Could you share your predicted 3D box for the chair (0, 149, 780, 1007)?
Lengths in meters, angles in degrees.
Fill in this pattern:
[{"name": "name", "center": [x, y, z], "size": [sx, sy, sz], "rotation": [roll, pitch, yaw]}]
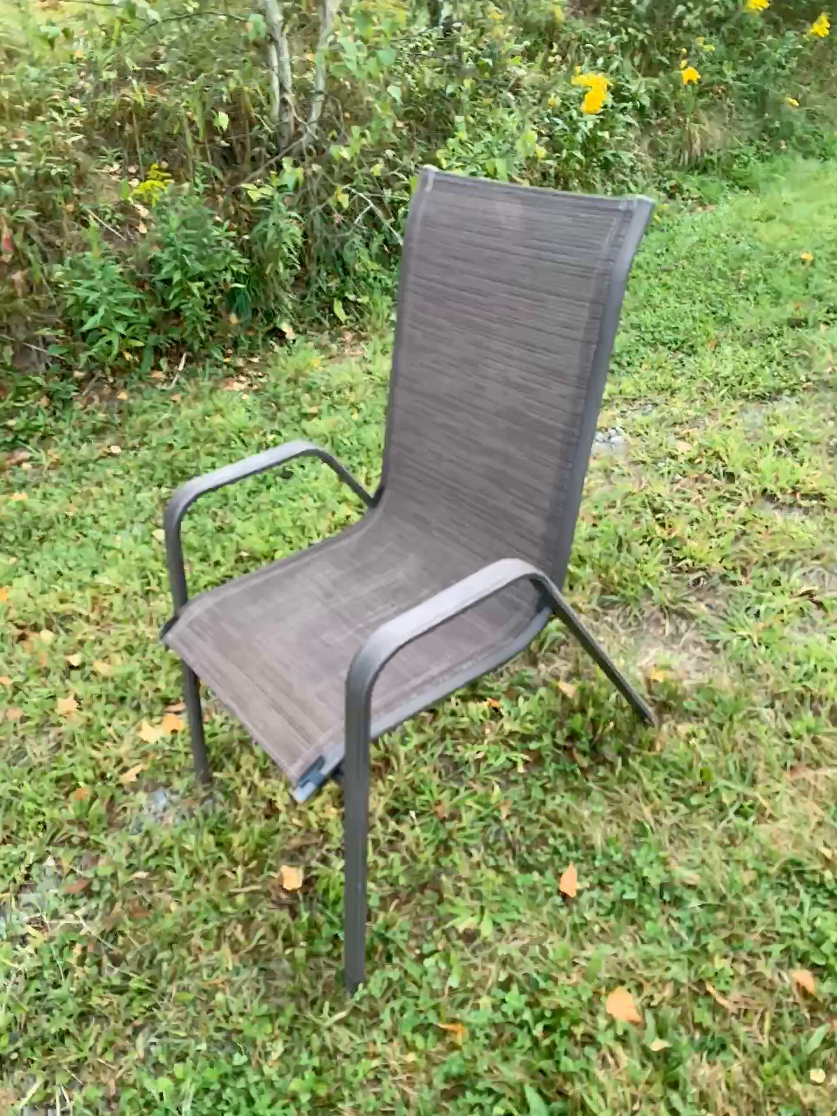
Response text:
[{"name": "chair", "center": [-0.023, -0.056, 1.247], "size": [0.741, 0.875, 0.622], "rotation": [-27, 38, -31]}]
